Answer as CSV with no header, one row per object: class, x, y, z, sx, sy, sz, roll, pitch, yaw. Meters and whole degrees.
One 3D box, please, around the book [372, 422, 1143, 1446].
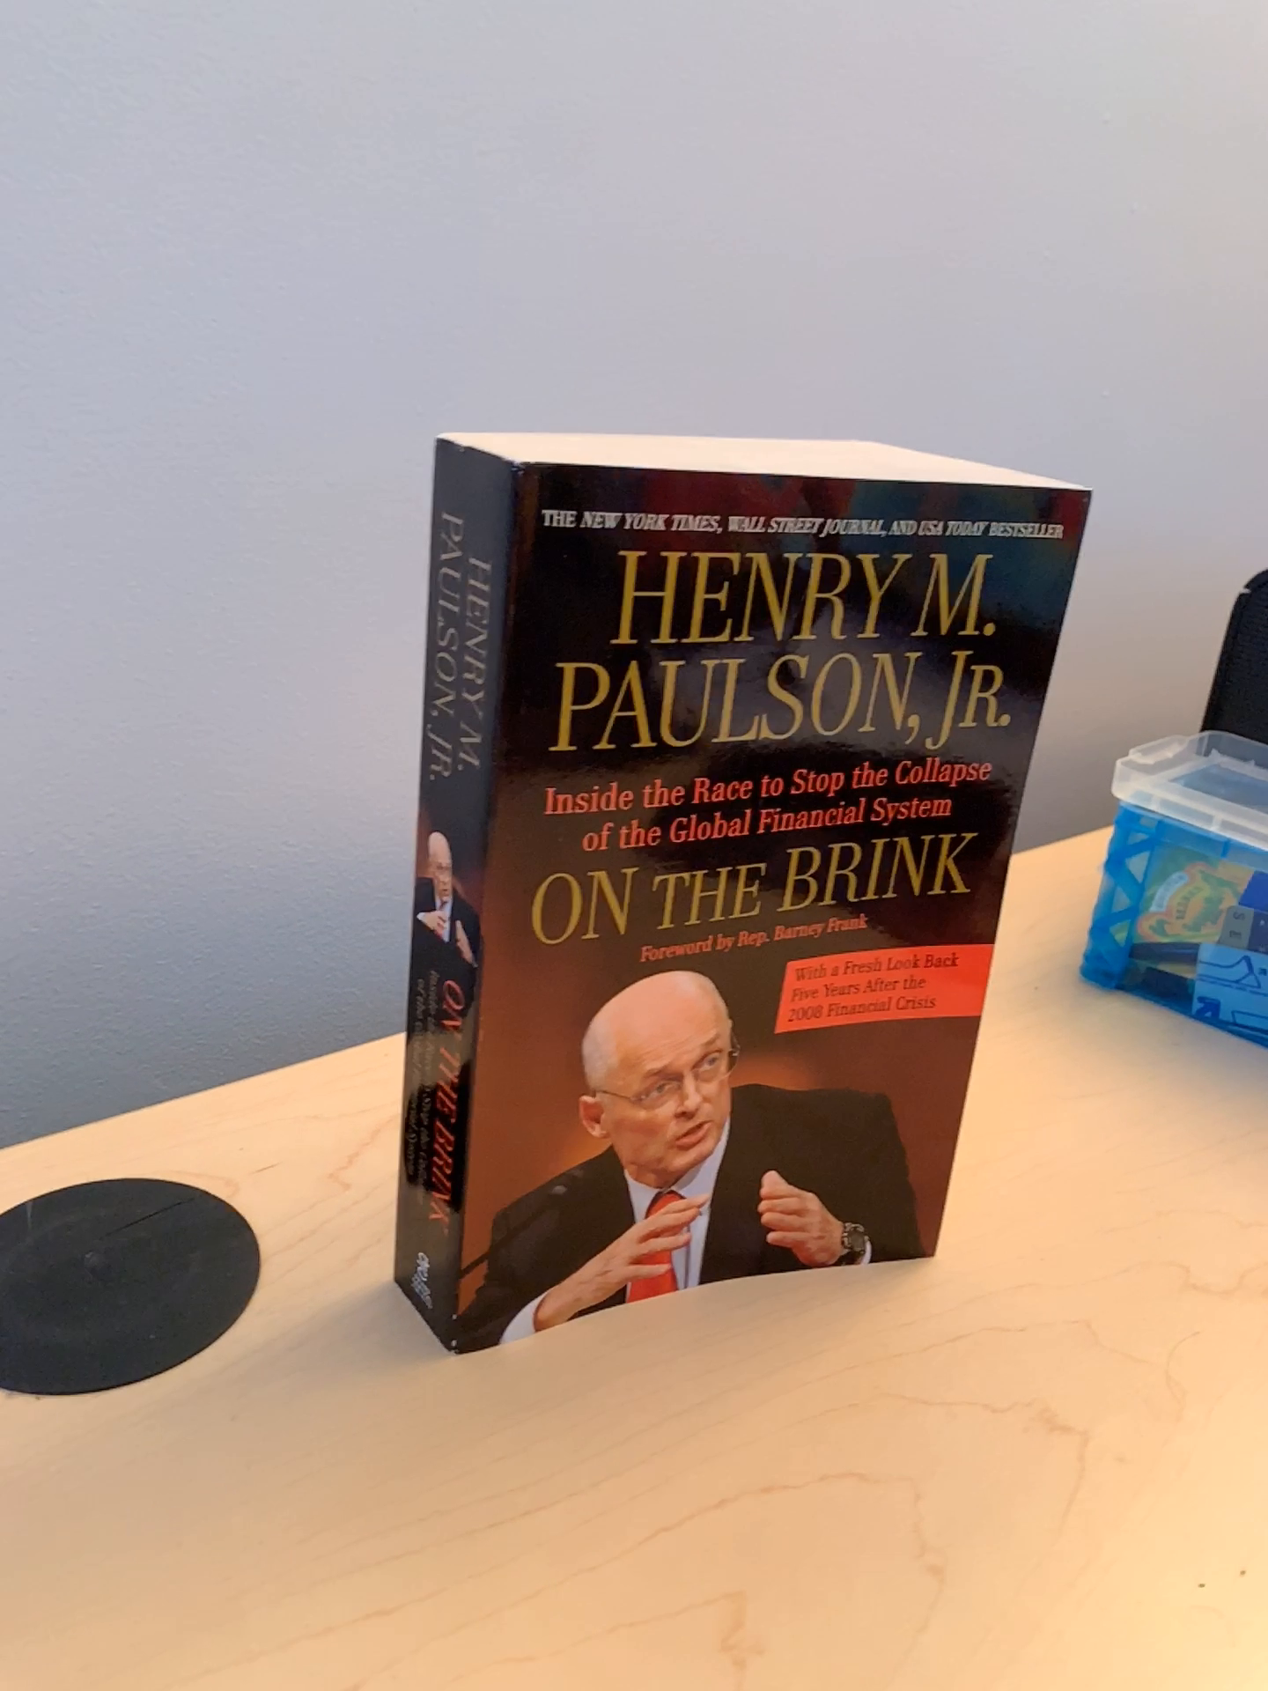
book,0.026,0.013,0.352,0.167,0.228,0.082,-9,25,-33
